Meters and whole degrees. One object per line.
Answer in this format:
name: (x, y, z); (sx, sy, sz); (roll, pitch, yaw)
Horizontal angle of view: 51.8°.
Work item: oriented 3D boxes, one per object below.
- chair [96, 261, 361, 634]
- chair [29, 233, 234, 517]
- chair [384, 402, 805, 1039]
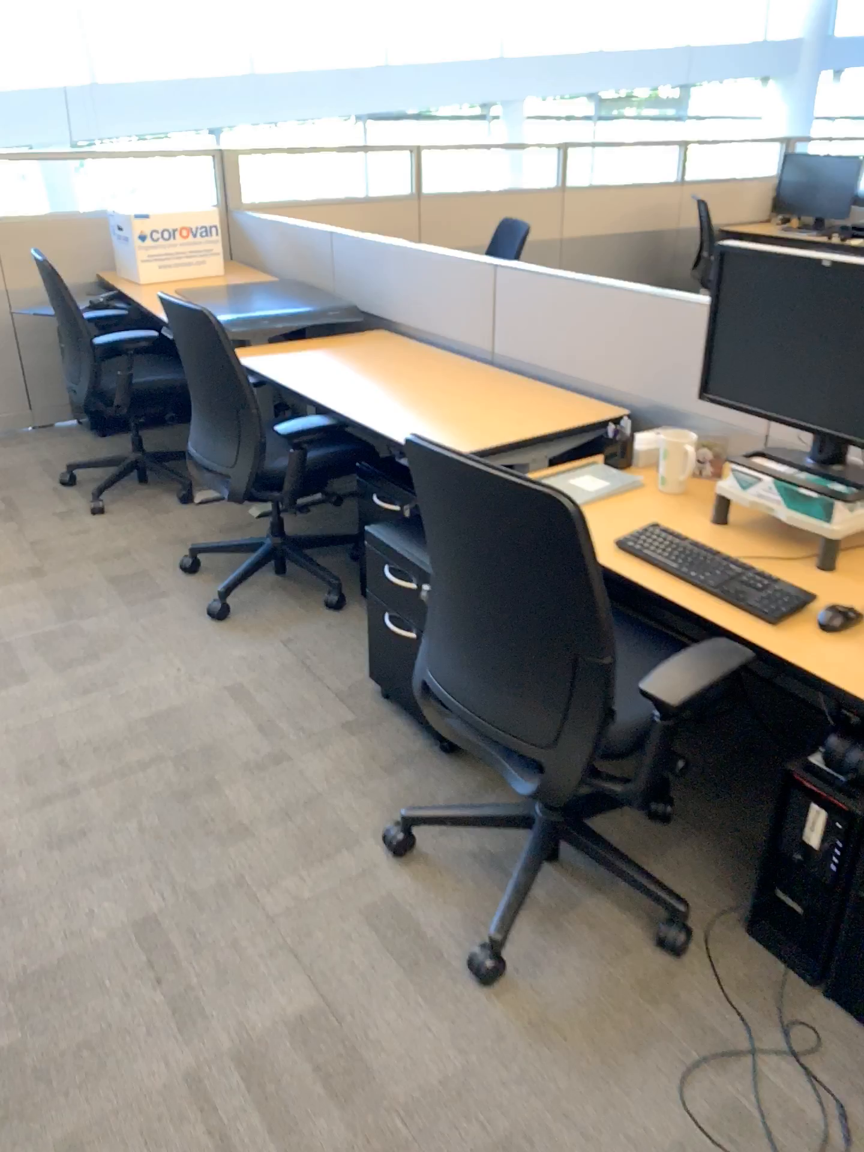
chair: (-0.630, -0.439, 2.872); (0.581, 0.994, 0.523); (-17, 32, -30)
chair: (-1.247, -0.862, 3.732); (0.600, 0.994, 0.563); (-12, 30, -23)
chair: (0.255, 0.249, 1.734); (0.460, 0.994, 0.543); (-16, 31, -29)
